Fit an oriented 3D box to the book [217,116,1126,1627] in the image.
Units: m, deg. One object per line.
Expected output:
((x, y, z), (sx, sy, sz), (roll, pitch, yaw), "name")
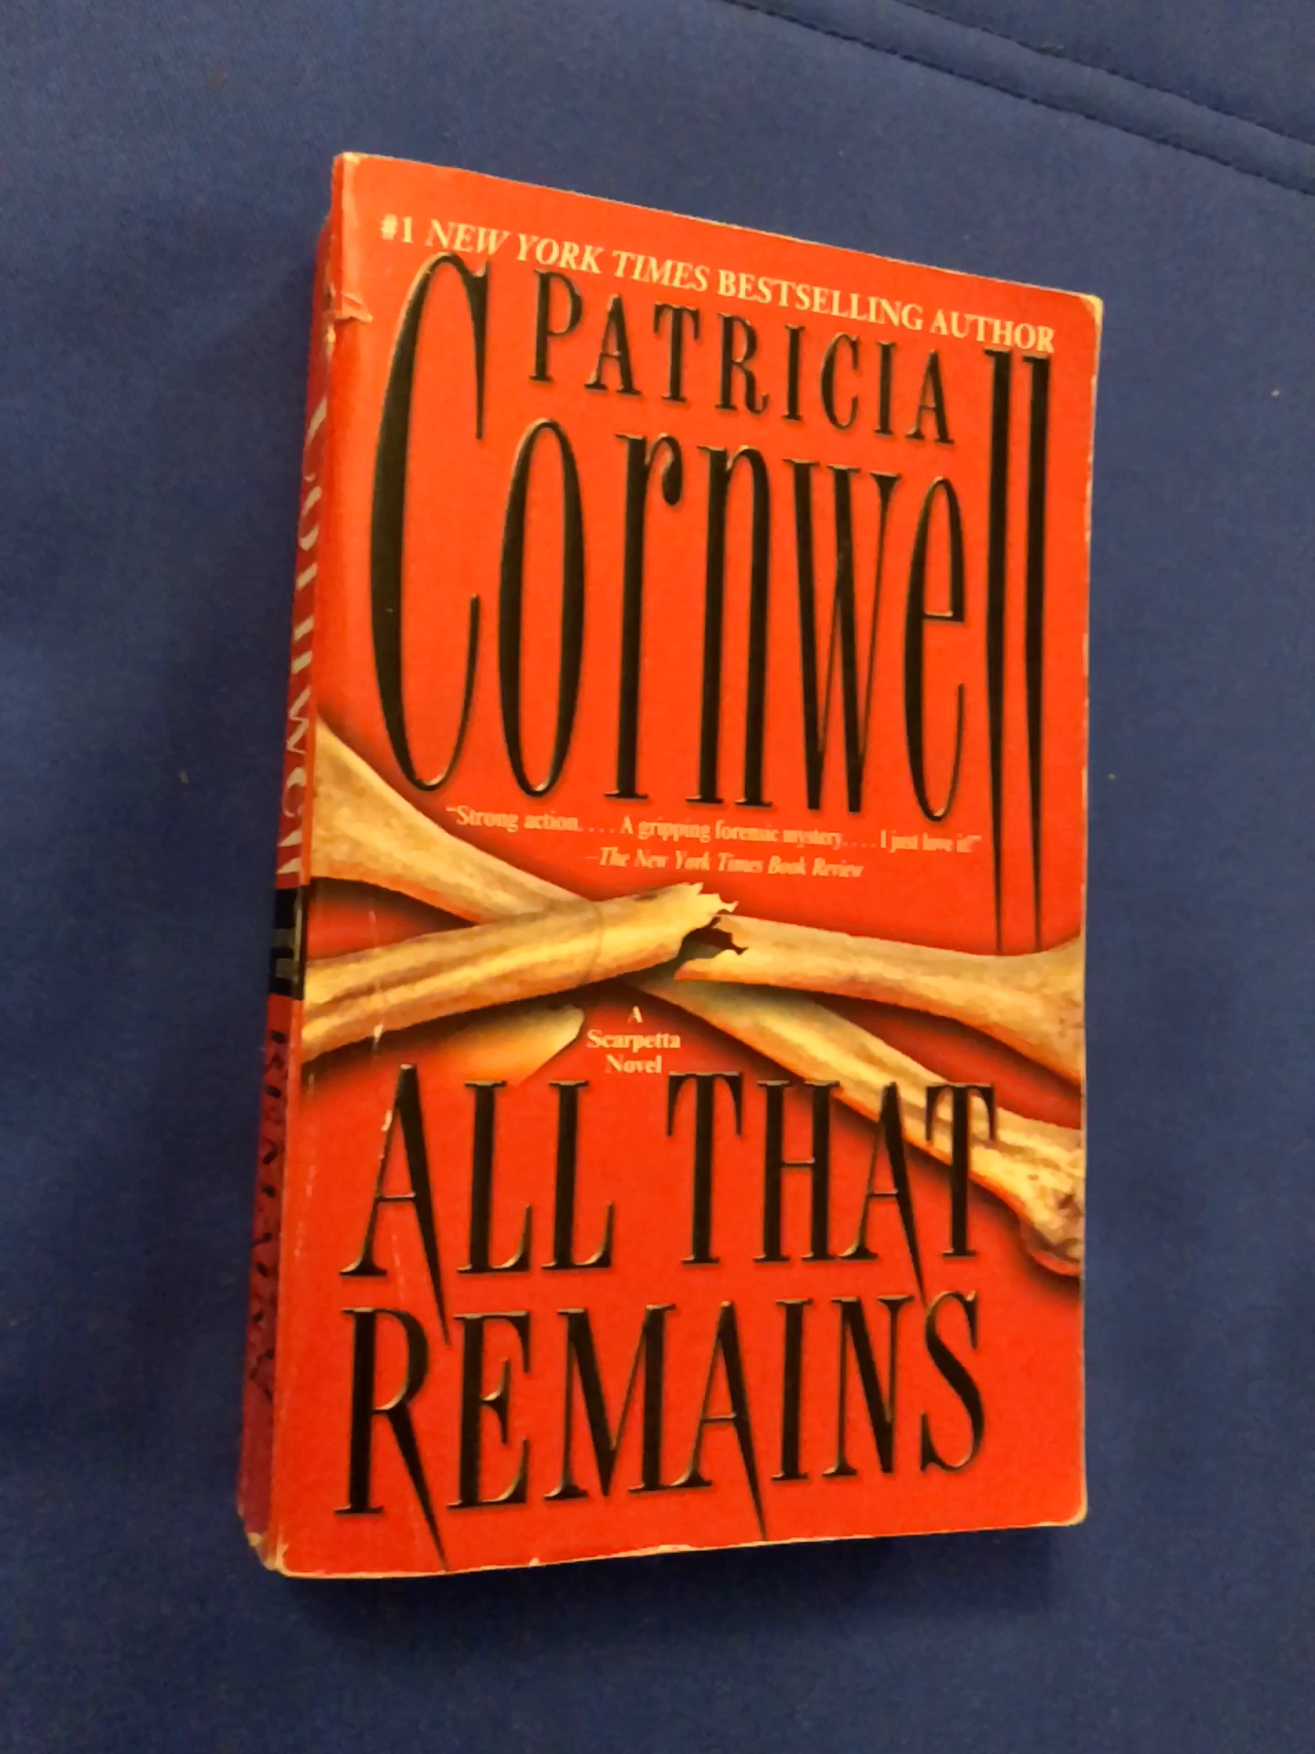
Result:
((0.004, 0.000, 0.192), (0.110, 0.030, 0.166), (3, 87, -18), "book")
